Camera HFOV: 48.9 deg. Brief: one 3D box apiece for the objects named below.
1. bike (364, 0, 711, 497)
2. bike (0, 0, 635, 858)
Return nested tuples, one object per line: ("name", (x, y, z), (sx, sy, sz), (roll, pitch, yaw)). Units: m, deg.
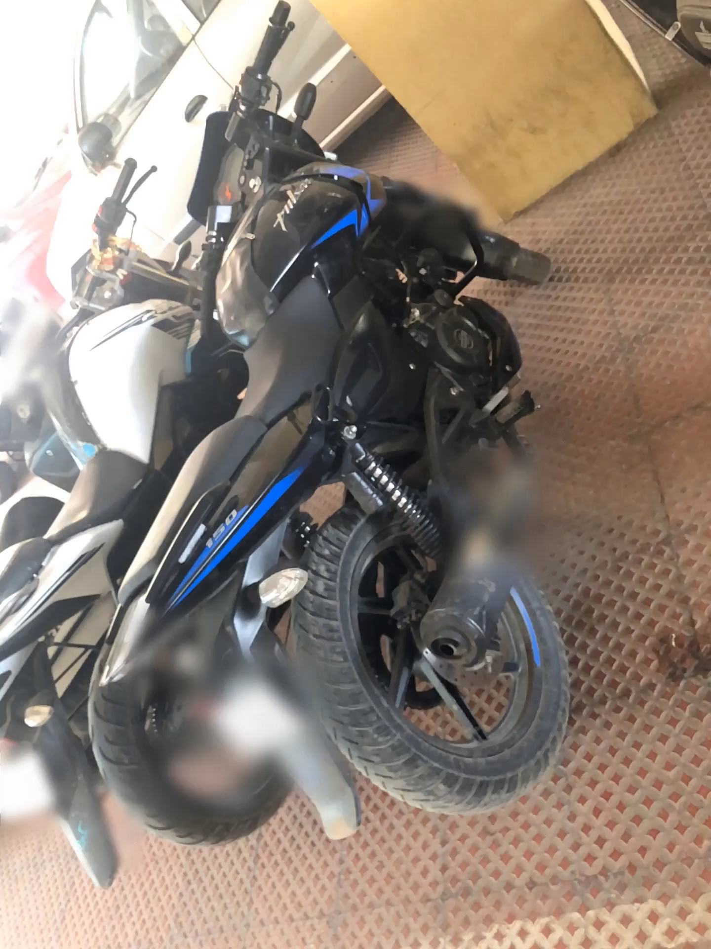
("bike", (0.749, -1.015, 1.702), (0.713, 1.223, 1.720), (-38, 33, 25))
("bike", (-0.119, -0.225, 1.862), (0.746, 0.989, 1.850), (-32, 35, 32))
